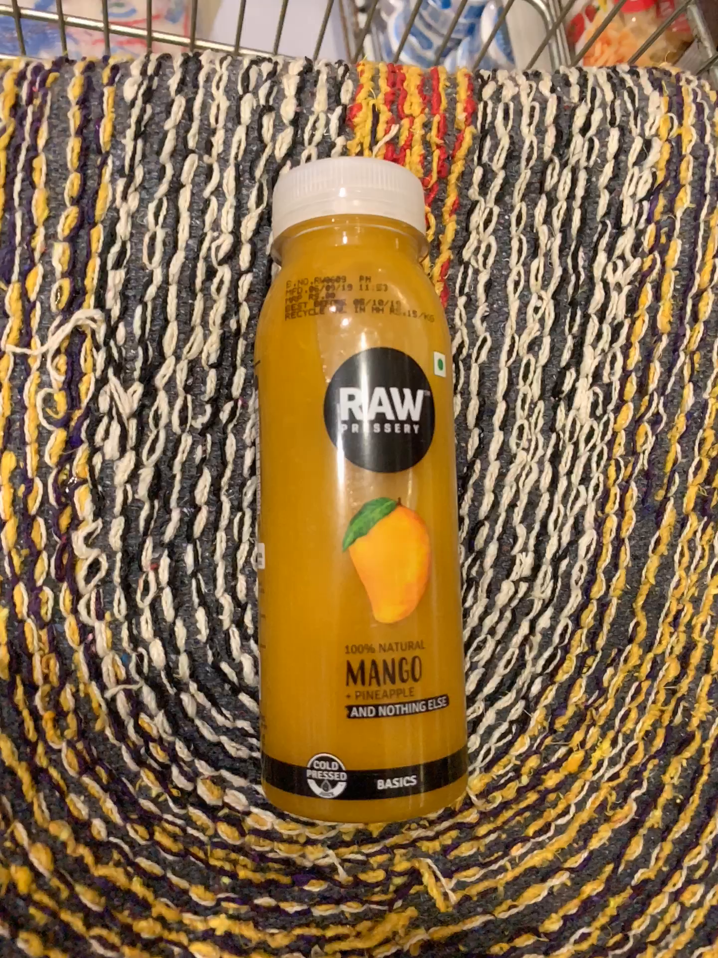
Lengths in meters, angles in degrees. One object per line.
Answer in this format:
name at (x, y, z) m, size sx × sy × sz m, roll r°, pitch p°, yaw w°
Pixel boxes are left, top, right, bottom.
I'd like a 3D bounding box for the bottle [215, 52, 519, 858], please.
bottle at (-0.003, -0.008, 0.186) m, size 0.060 × 0.050 × 0.170 m, roll 0°, pitch 83°, yaw -14°
